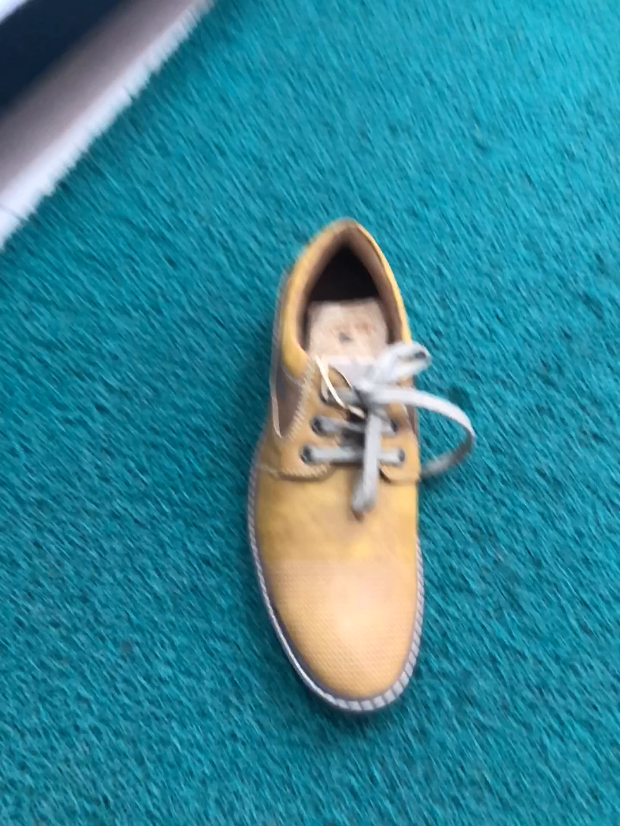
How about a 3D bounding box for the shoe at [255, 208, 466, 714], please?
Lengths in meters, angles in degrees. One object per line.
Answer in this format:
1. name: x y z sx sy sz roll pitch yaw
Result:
1. shoe: 0.016 0.025 0.437 0.100 0.110 0.300 0 65 -4
